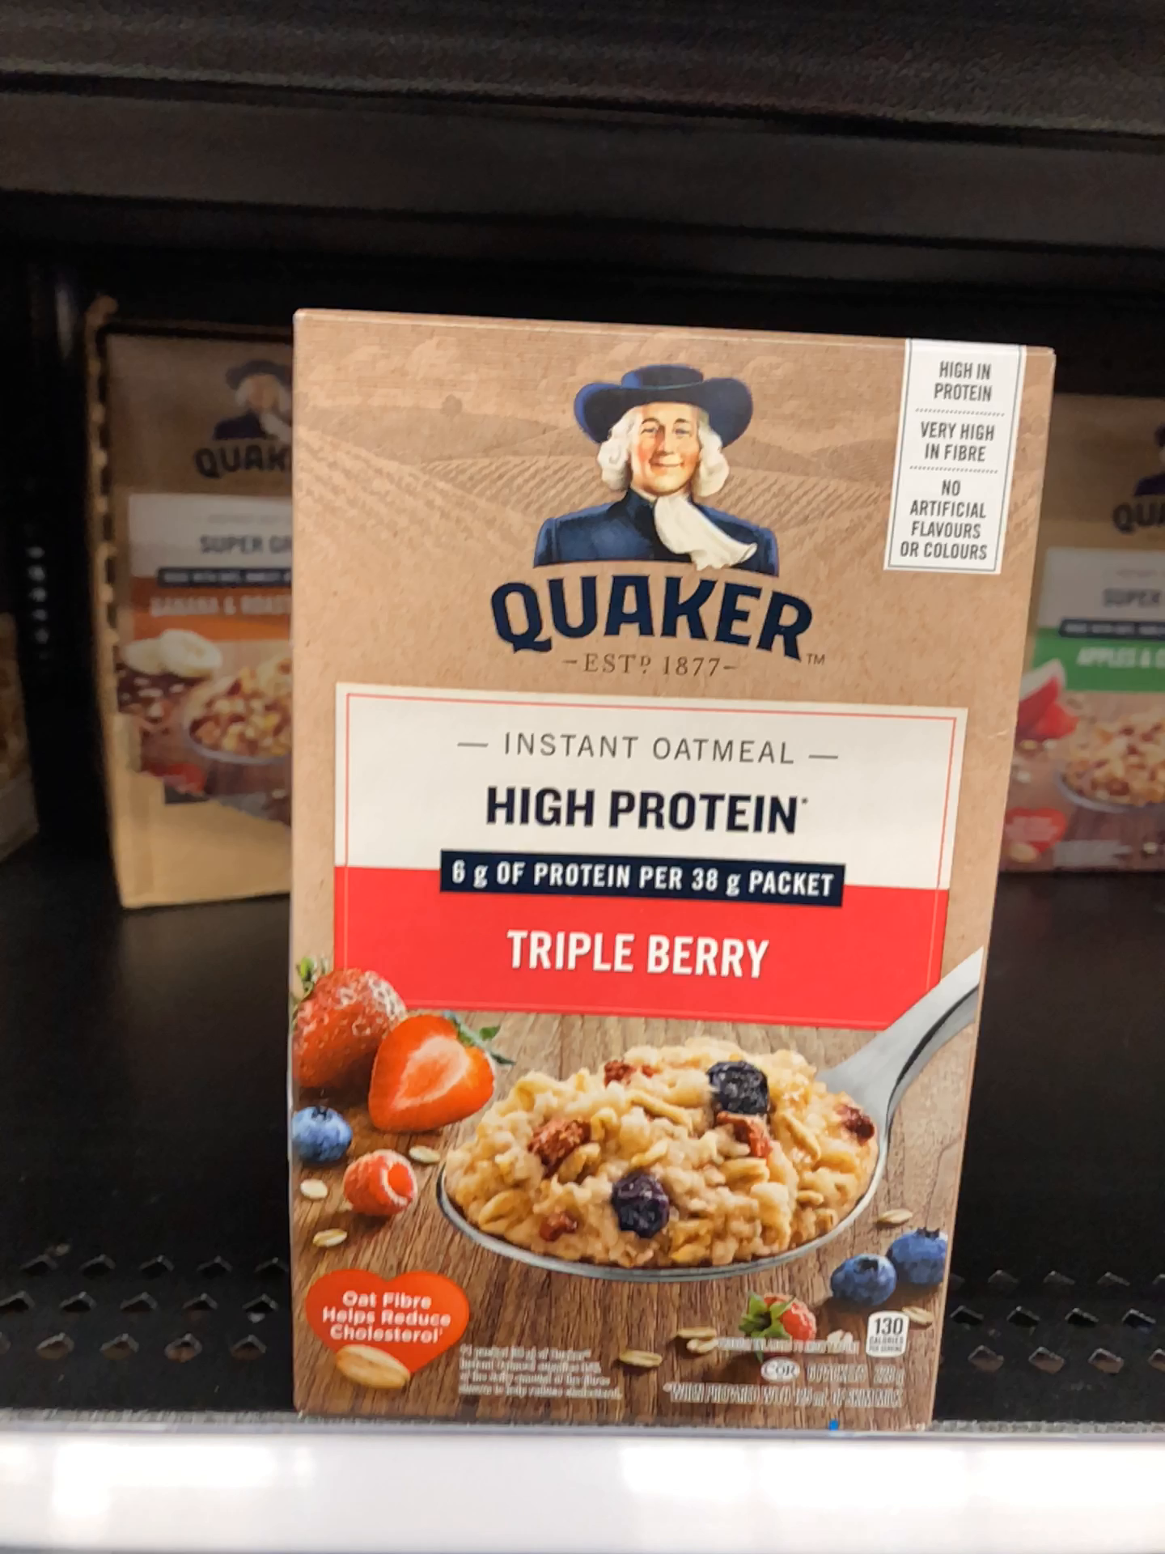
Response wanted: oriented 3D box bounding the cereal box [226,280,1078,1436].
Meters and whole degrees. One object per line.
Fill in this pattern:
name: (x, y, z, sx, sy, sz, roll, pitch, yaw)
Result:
cereal box: (0.007, 0.016, 0.254, 0.130, 0.199, 0.070, 2, 13, -2)
